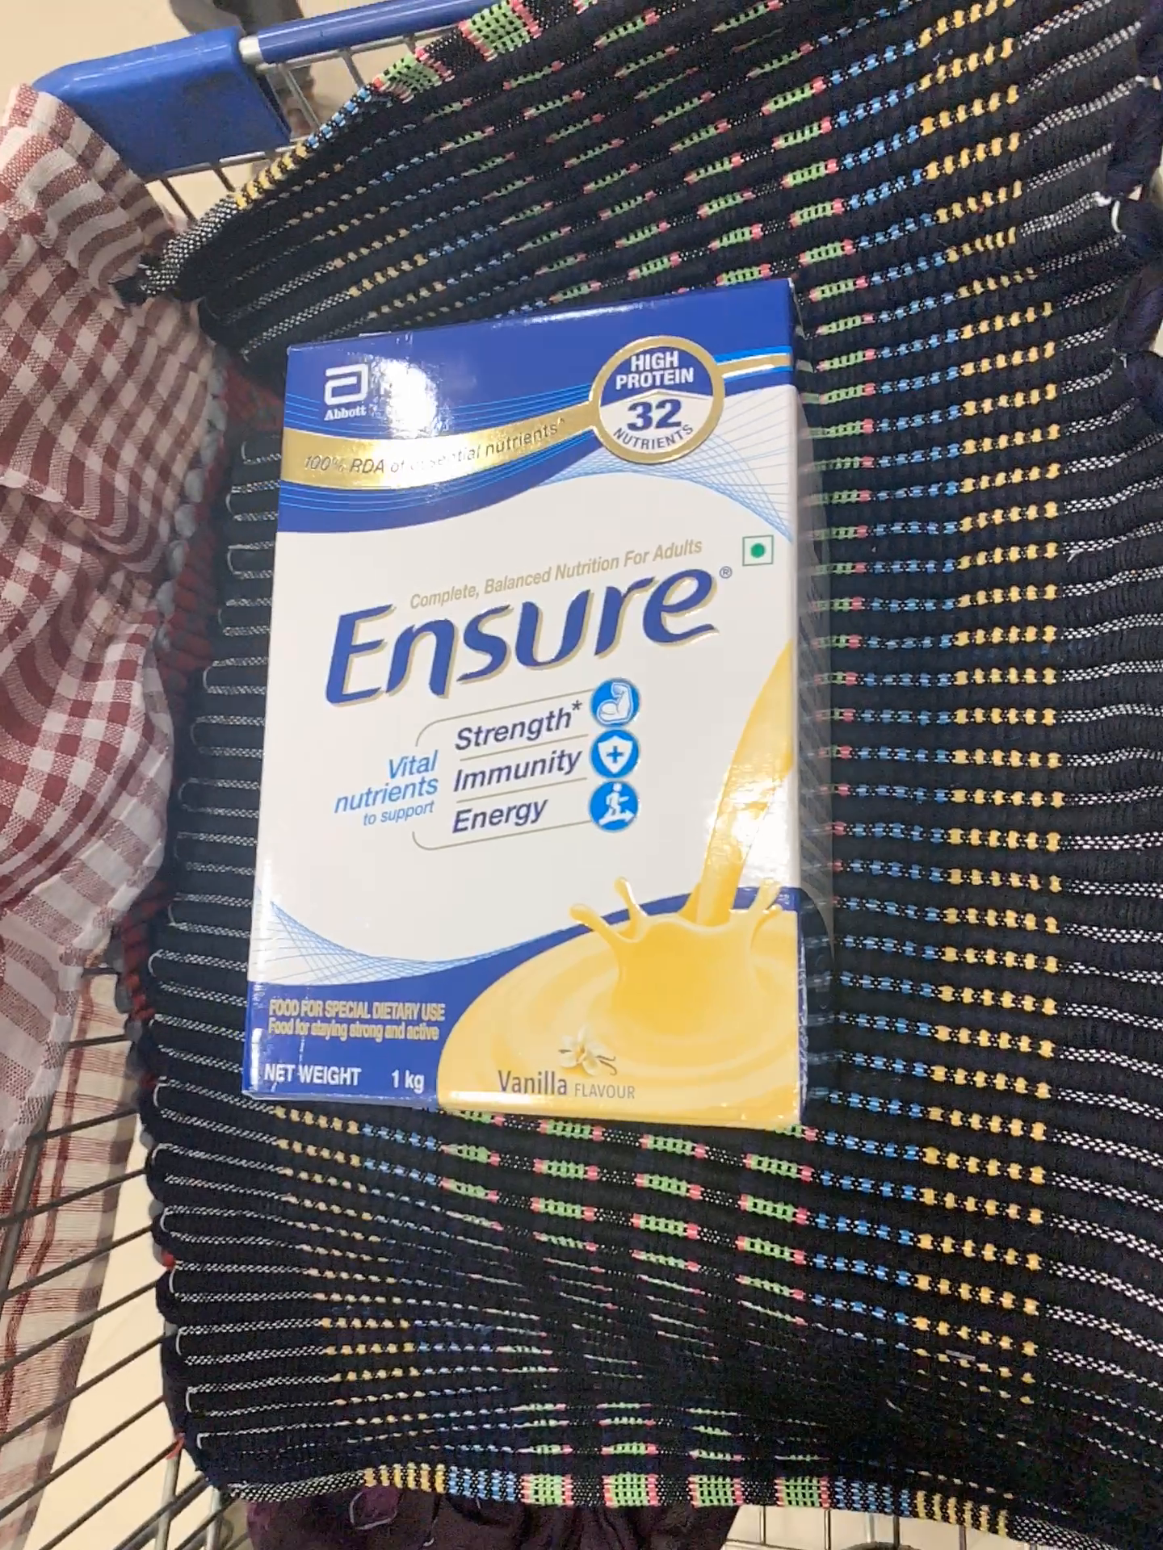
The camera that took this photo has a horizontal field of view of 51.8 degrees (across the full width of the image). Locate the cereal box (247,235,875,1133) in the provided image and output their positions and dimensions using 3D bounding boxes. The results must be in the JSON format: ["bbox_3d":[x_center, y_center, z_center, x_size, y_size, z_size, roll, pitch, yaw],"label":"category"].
[{"bbox_3d":[0.005,-0.019,0.346,0.150,0.090,0.220,-1,78,17],"label":"cereal box"}]
